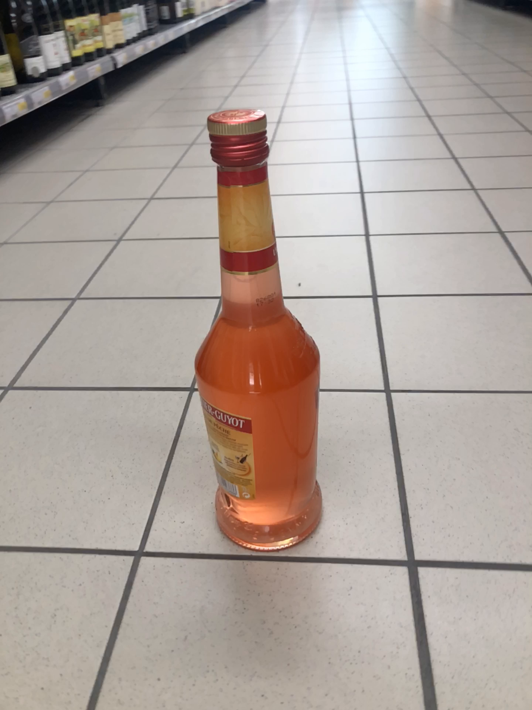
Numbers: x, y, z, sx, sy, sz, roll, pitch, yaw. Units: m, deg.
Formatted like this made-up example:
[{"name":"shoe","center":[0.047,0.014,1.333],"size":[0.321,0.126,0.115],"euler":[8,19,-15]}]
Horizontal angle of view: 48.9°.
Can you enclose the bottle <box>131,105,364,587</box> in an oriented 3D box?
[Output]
[{"name":"bottle","center":[-0.004,0.005,0.390],"size":[0.090,0.298,0.090],"euler":[-3,32,2]}]
